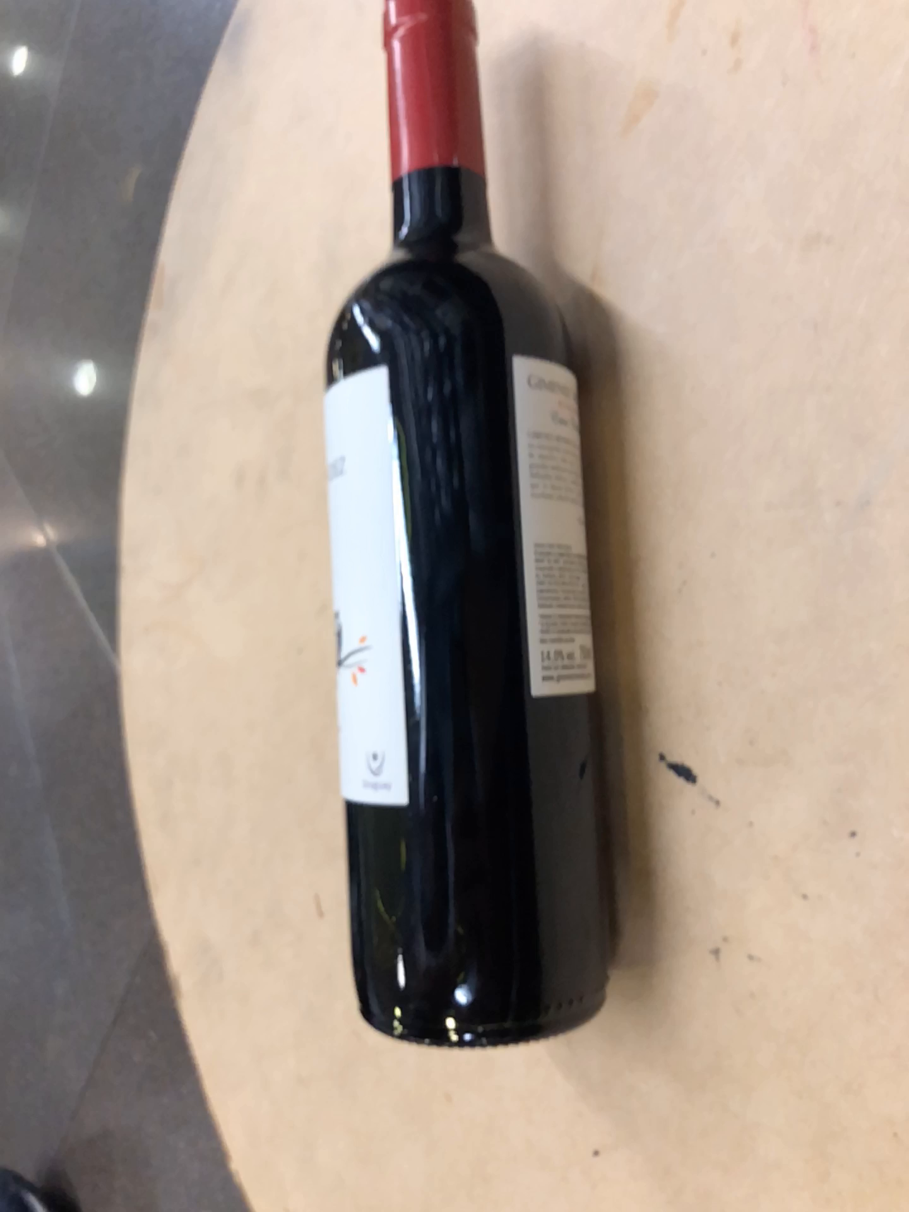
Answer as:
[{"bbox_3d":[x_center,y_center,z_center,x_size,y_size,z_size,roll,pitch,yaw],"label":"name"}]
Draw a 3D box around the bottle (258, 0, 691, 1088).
[{"bbox_3d":[0.002,-0.047,0.280,0.080,0.060,0.310,-8,85,47],"label":"bottle"}]
